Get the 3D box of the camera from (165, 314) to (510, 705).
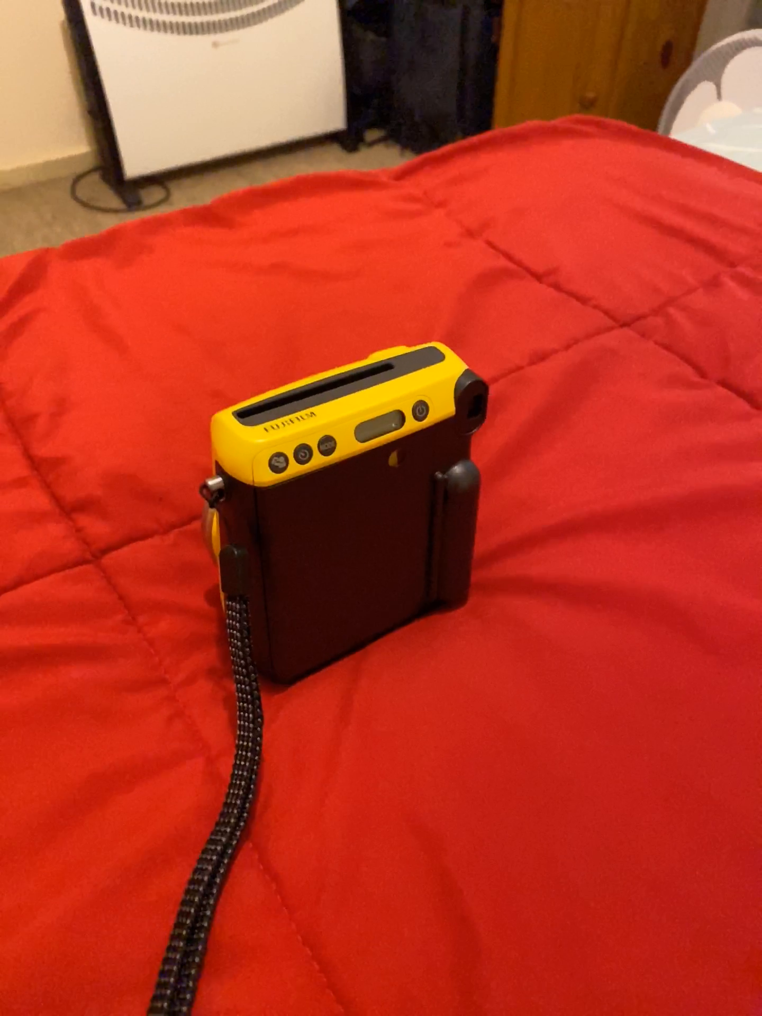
[{"bbox_3d":[-0.014,0.000,0.287,0.095,0.103,0.057,-23,47,-26],"label":"camera"}]
